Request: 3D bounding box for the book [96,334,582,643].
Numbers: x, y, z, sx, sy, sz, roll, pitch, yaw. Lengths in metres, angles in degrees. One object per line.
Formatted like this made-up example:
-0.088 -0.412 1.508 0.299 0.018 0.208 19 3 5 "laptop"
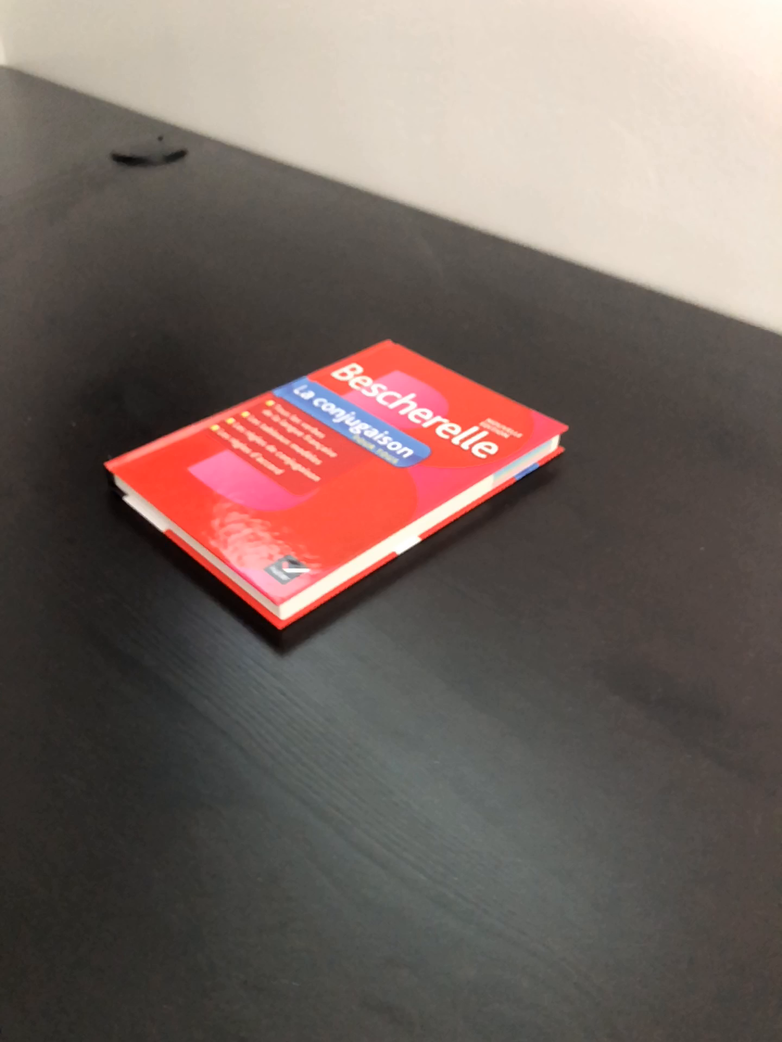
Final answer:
-0.024 -0.034 0.458 0.204 0.020 0.150 -30 47 -33 "book"
